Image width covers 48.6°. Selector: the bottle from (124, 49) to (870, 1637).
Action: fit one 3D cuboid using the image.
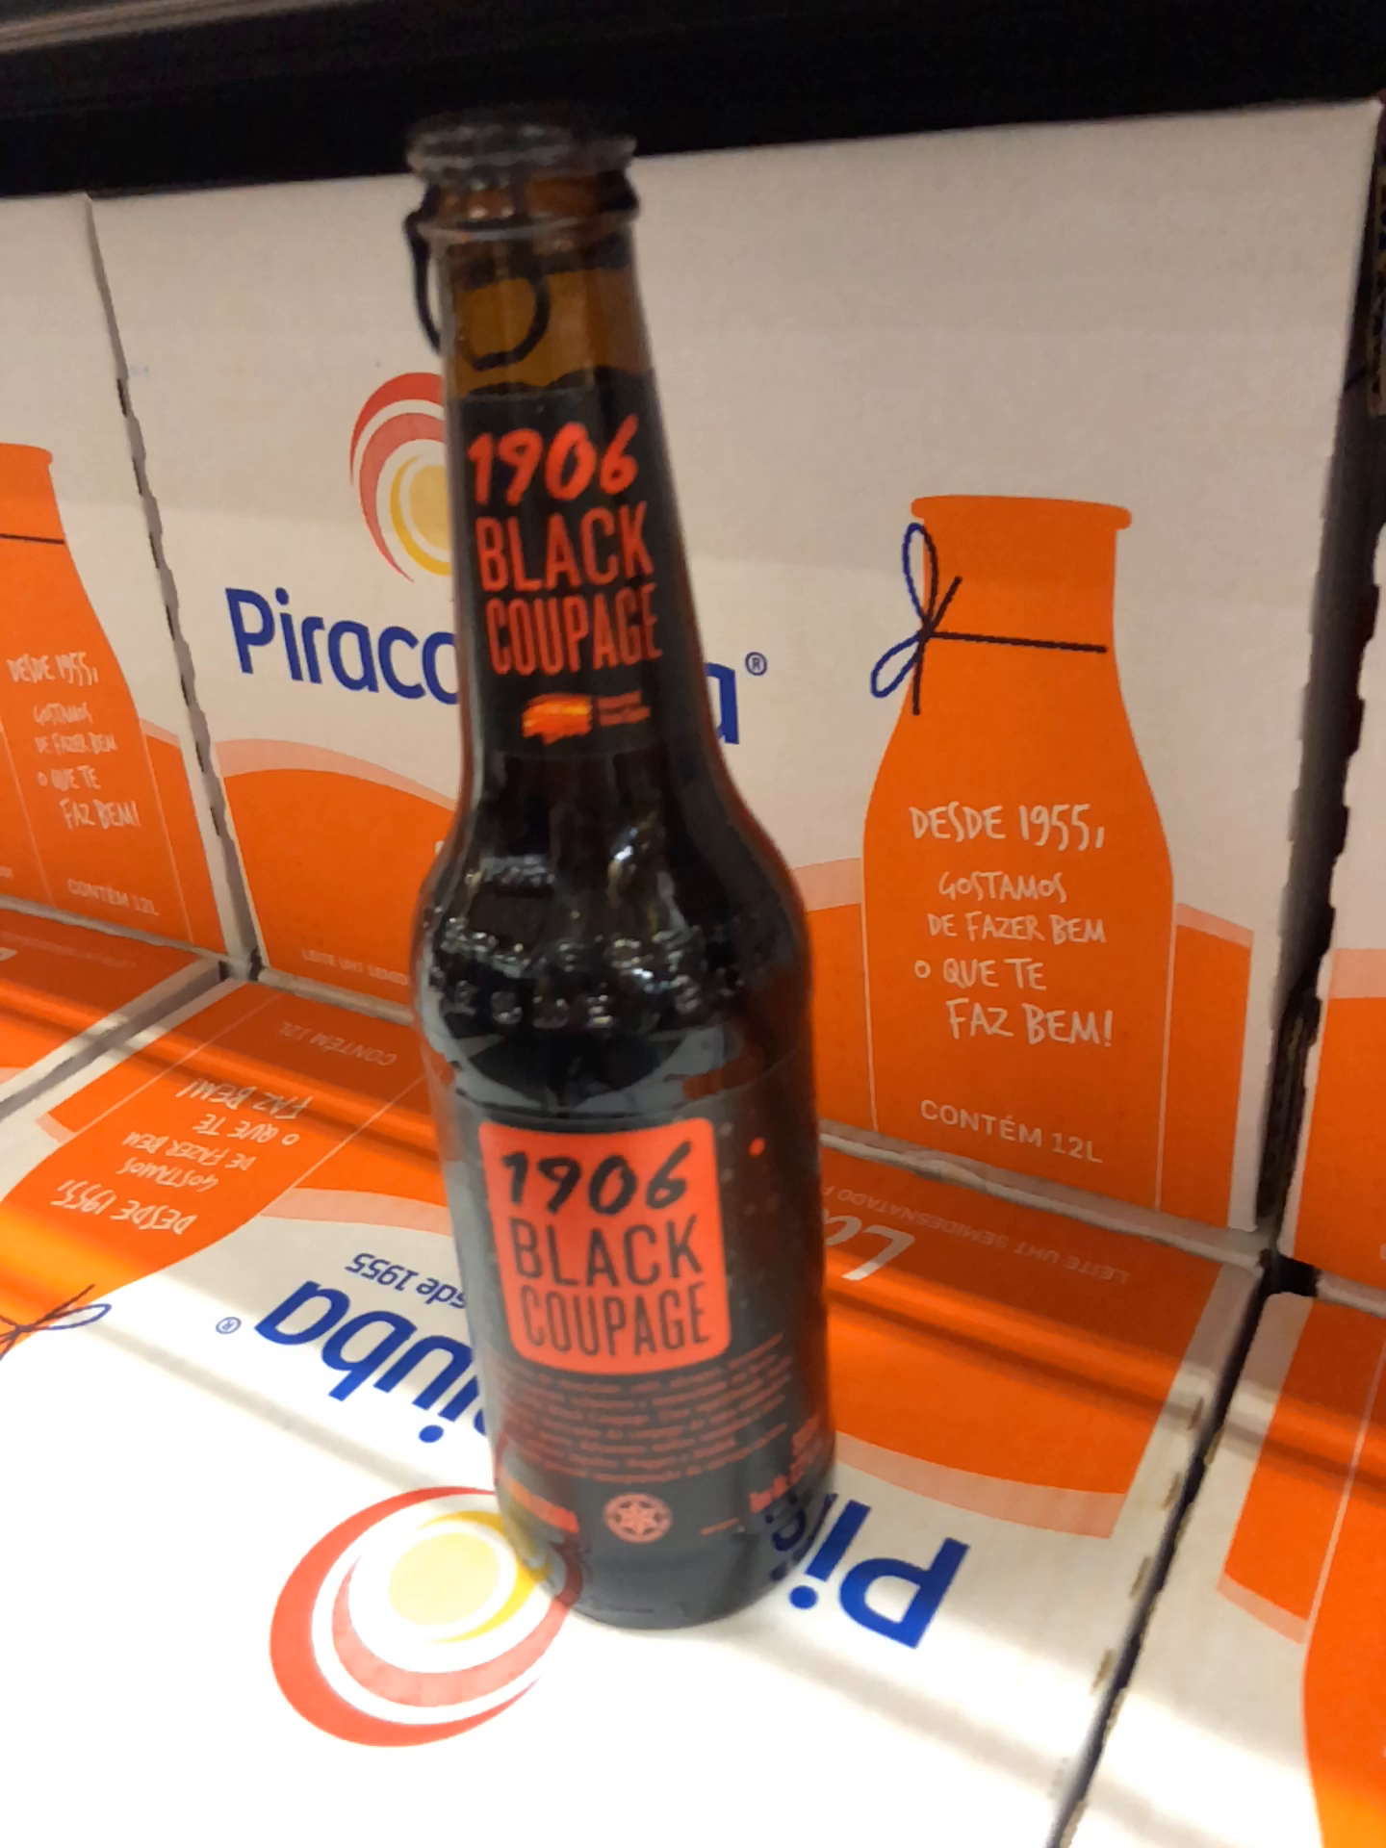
[{"bbox_3d":[-0.013,0.002,0.224,0.070,0.218,0.060,-3,26,3],"label":"bottle"}]
